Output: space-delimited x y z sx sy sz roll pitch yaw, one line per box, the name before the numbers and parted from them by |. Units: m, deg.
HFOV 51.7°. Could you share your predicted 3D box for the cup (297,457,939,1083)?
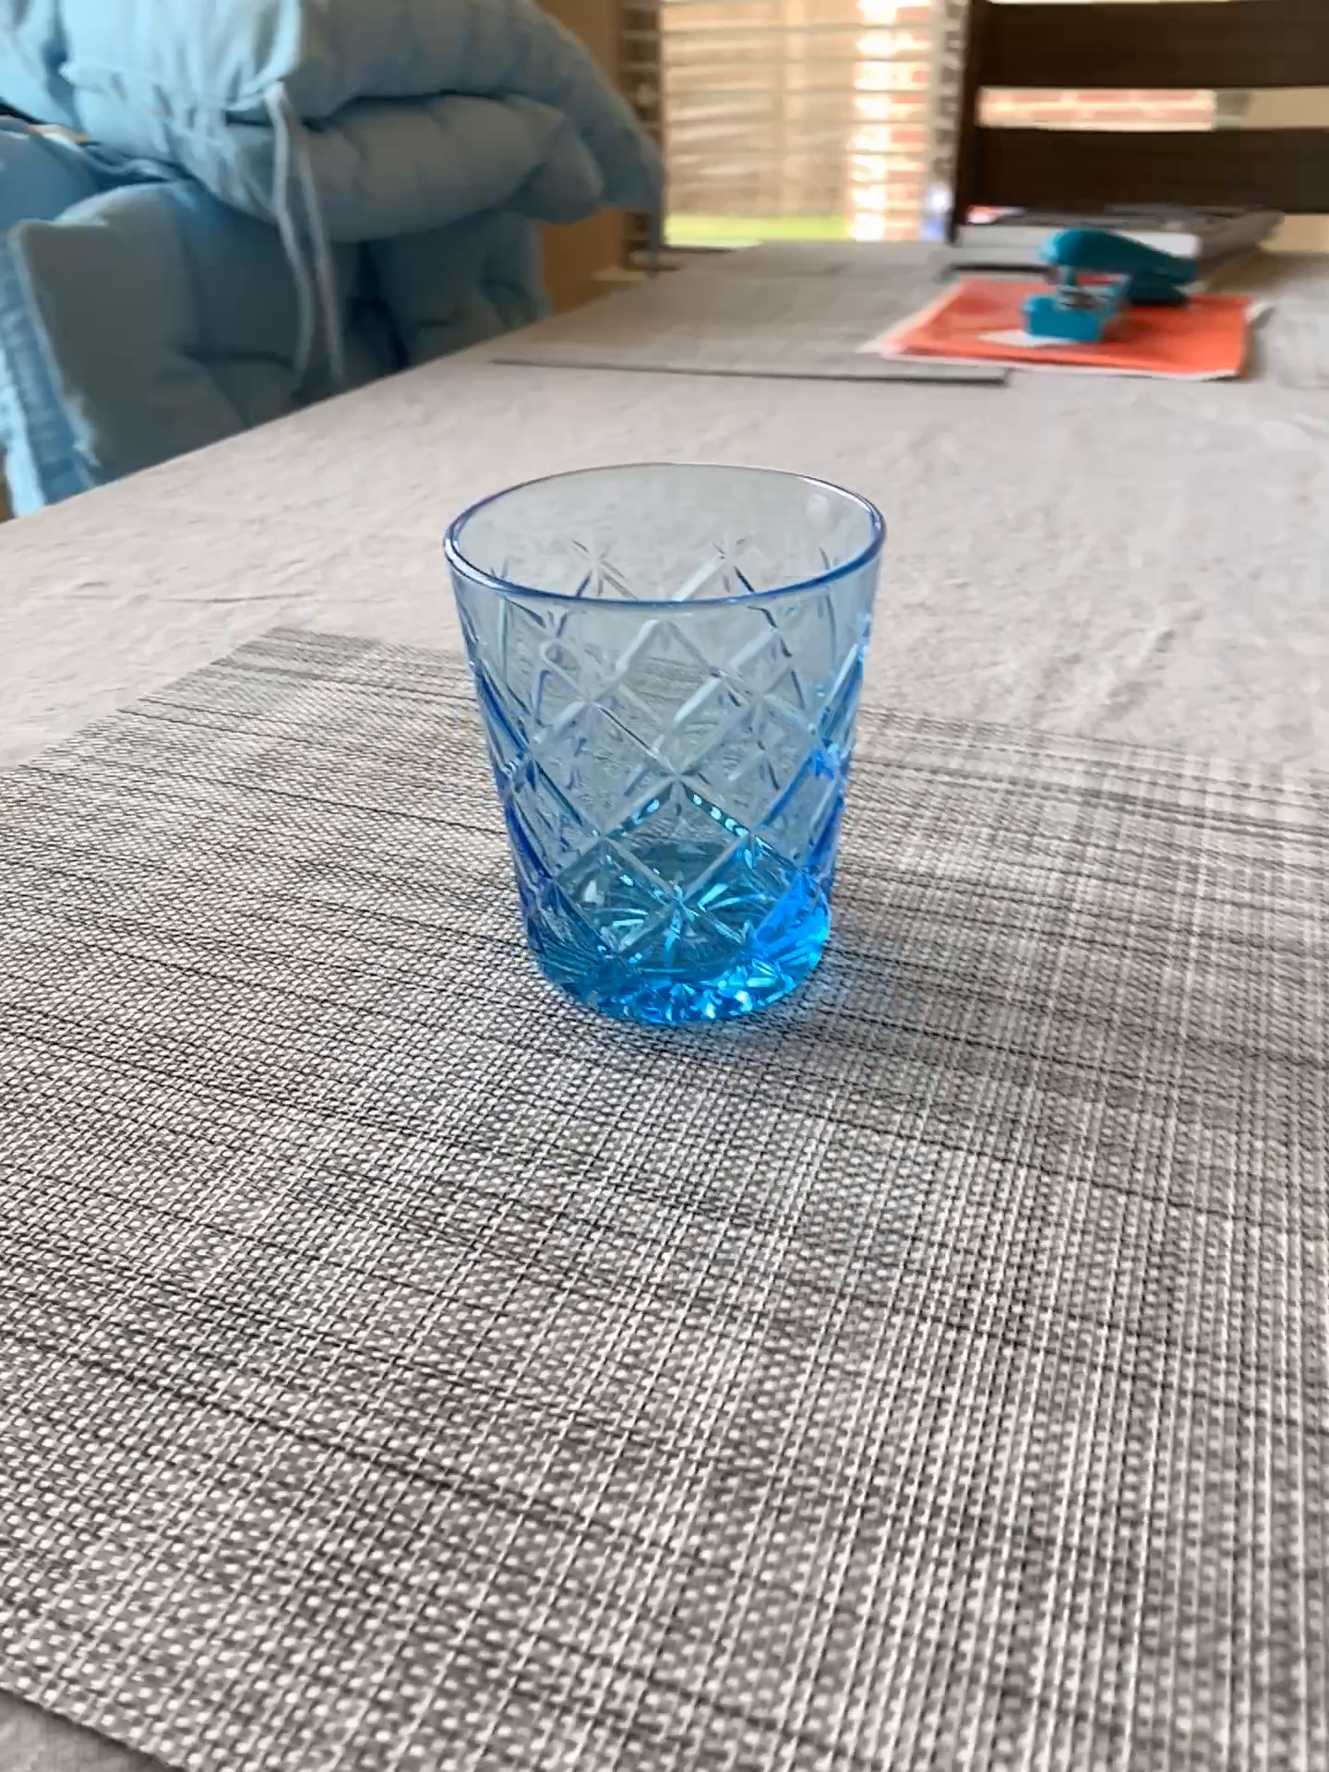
cup | -0.004 -0.030 0.281 0.093 0.085 0.088 -1 31 1
